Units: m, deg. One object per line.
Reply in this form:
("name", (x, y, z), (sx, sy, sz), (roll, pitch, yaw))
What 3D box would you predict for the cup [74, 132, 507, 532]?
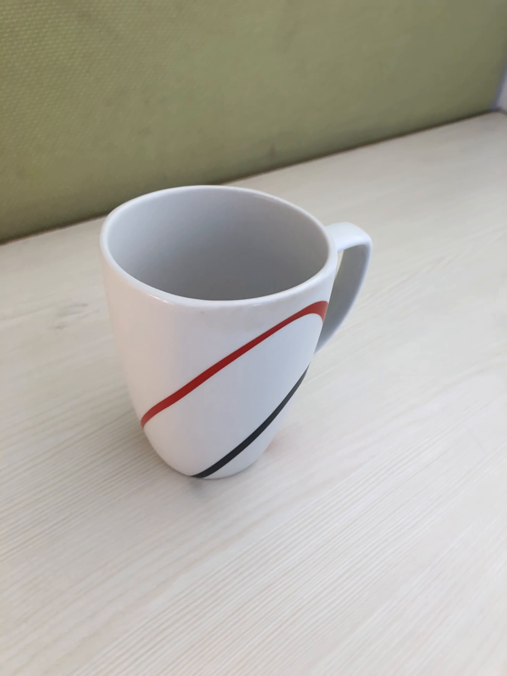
("cup", (0.015, -0.013, 0.232), (0.140, 0.099, 0.090), (-16, 42, -26))
